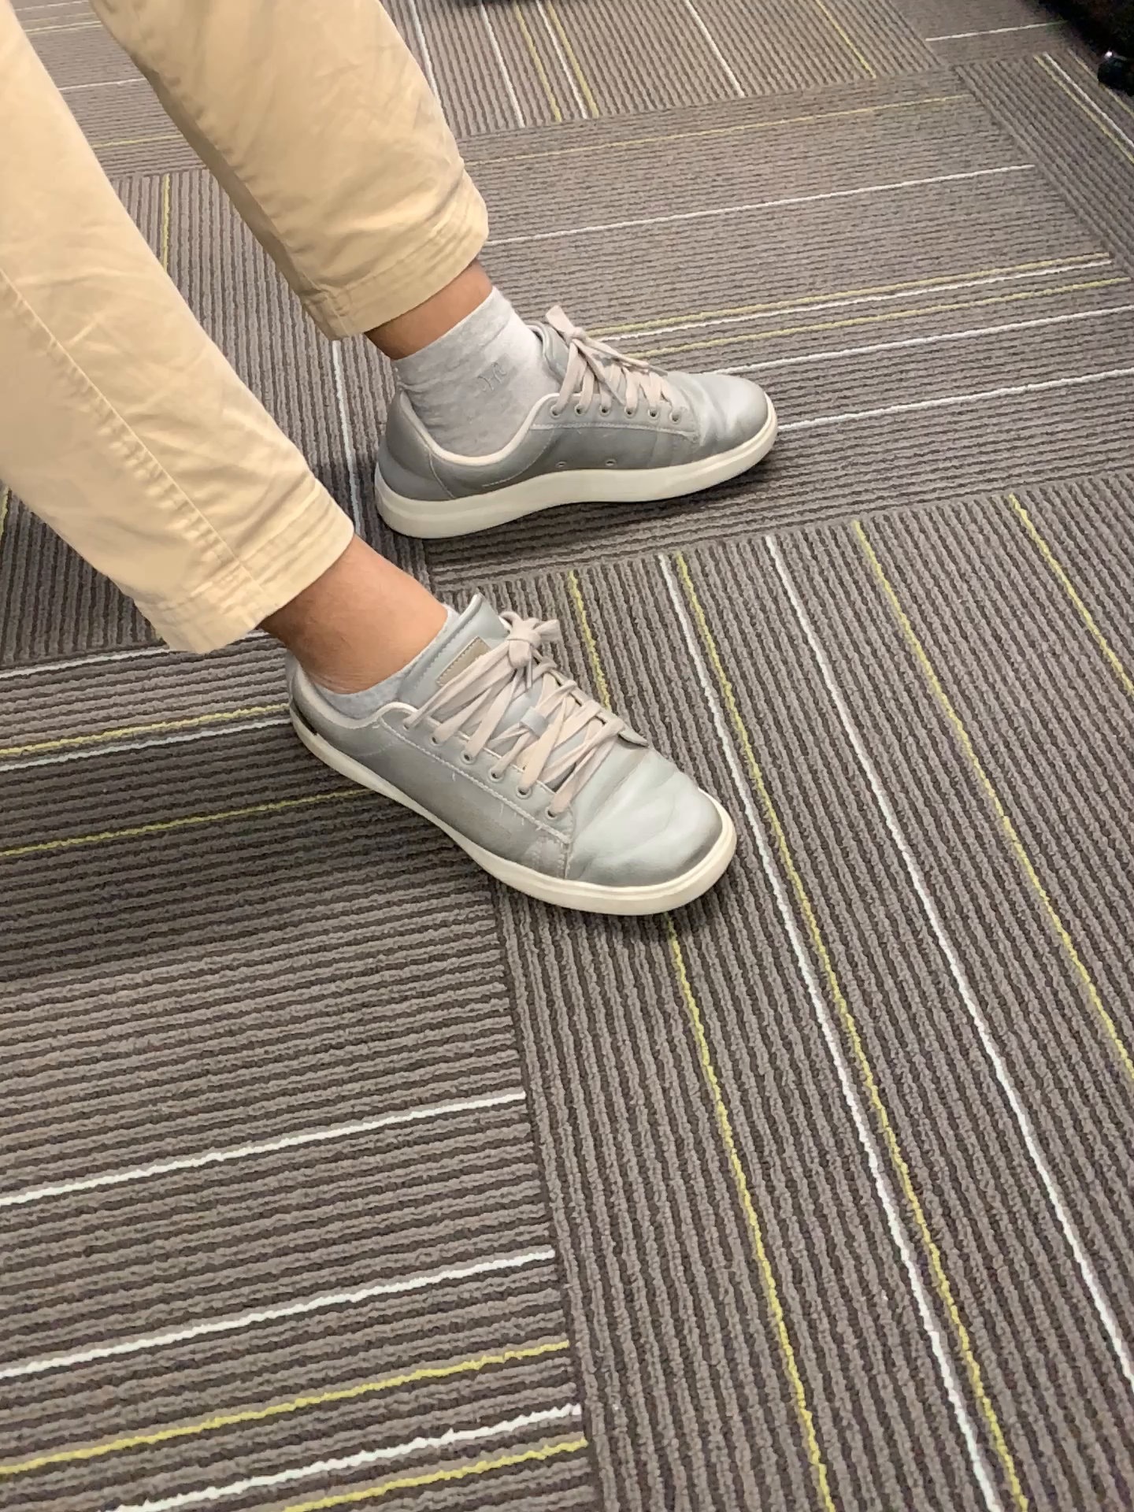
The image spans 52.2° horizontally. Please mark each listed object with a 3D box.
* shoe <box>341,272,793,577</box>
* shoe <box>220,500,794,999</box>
[{"bbox_3d":[-0.002,-0.234,0.814,0.280,0.110,0.121,-12,54,-6],"label":"shoe"},{"bbox_3d":[-0.032,-0.008,0.642,0.271,0.139,0.120,26,59,20],"label":"shoe"}]
